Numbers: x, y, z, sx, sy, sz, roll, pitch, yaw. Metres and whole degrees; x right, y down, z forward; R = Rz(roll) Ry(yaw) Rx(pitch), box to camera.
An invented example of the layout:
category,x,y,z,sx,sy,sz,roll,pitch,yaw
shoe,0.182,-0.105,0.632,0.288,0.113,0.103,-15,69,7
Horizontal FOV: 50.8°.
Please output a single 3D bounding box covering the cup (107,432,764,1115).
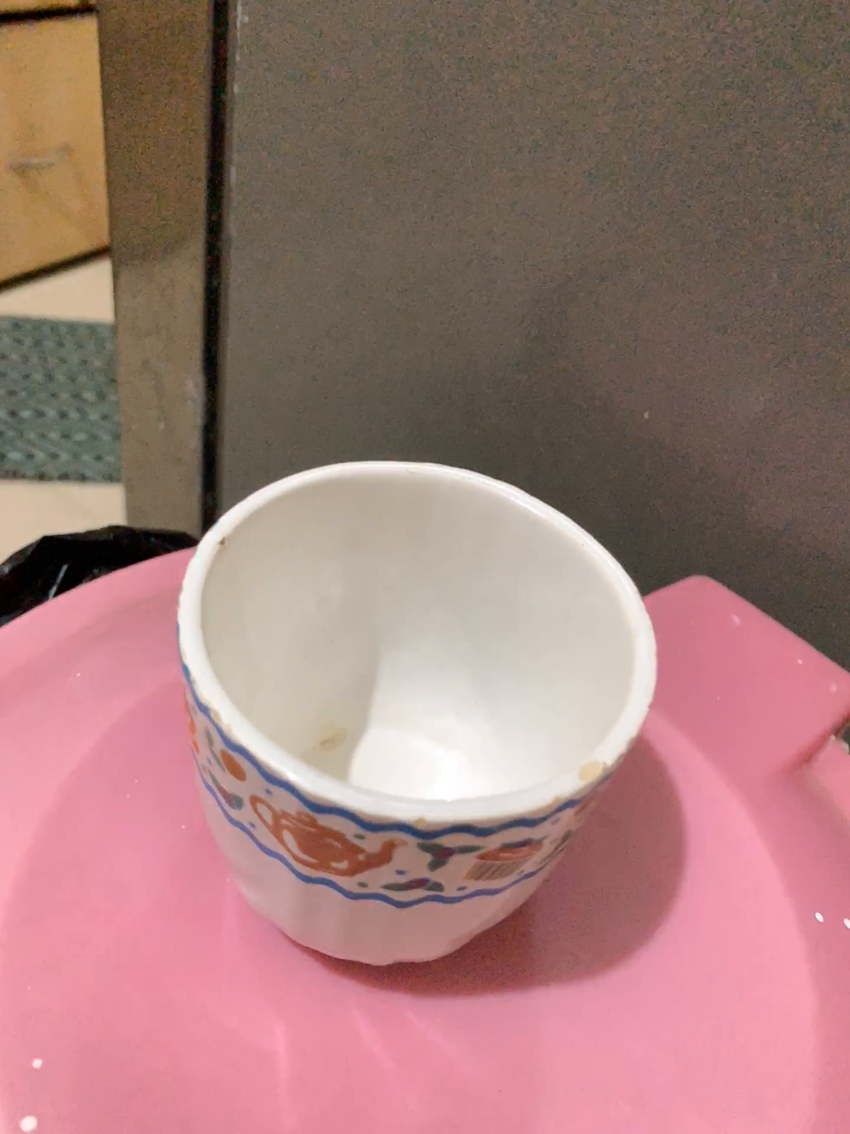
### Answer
category,x,y,z,sx,sy,sz,roll,pitch,yaw
cup,-0.006,0.027,0.147,0.070,0.059,0.070,7,41,-7
